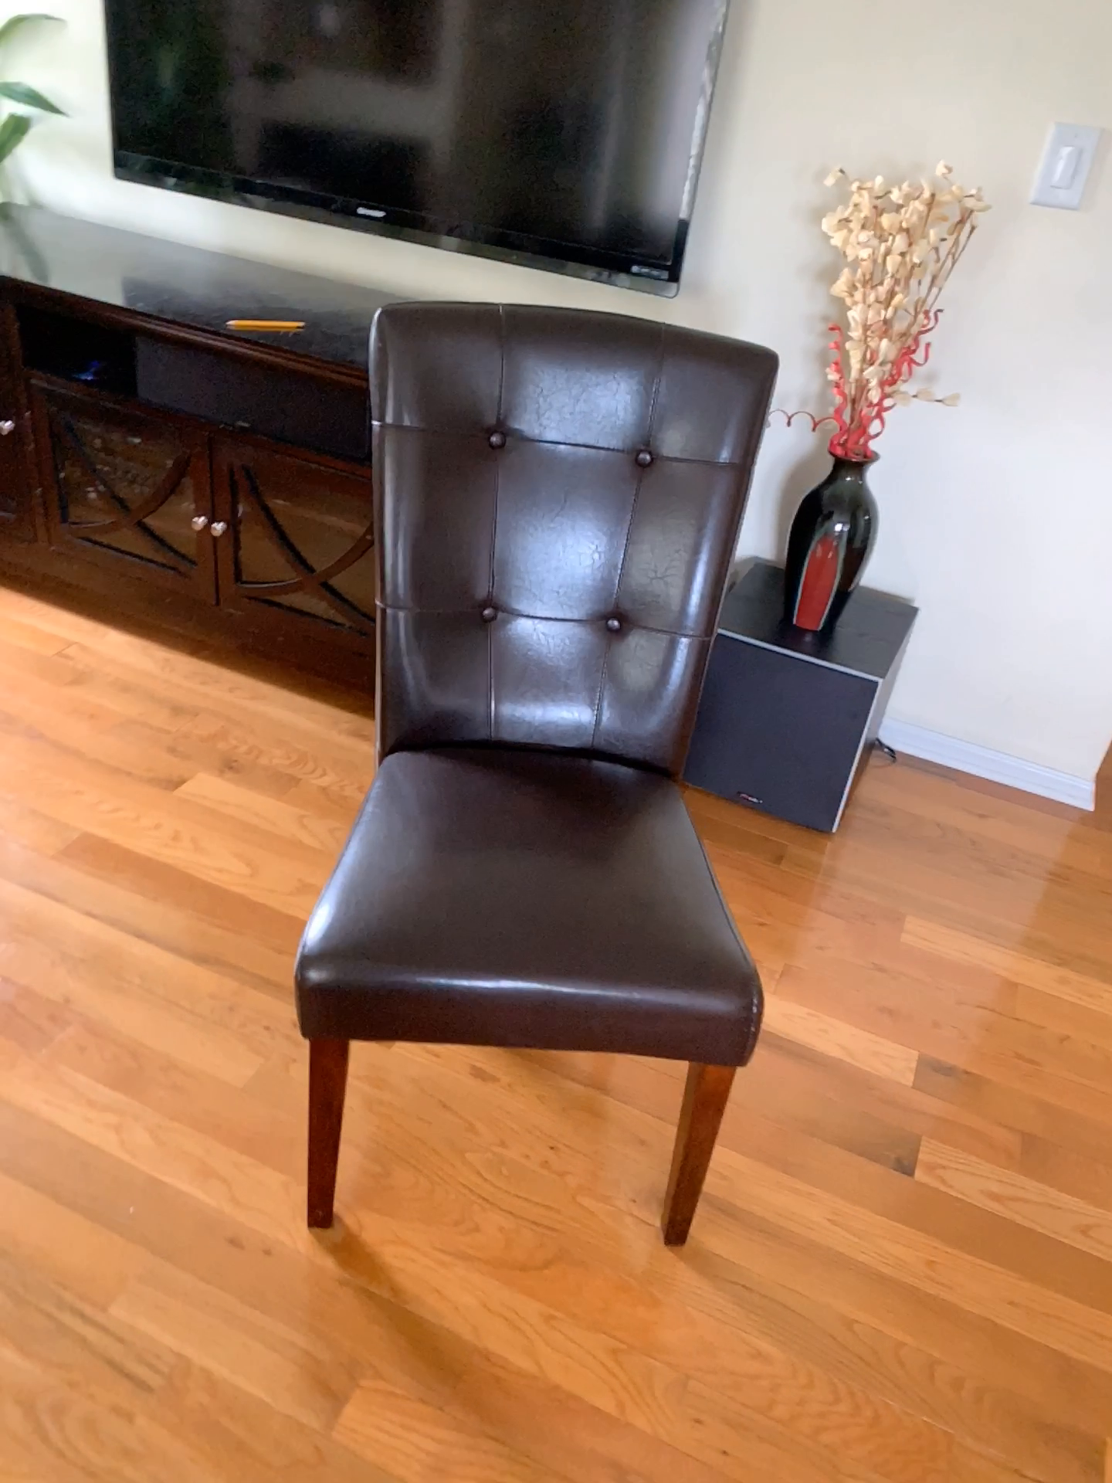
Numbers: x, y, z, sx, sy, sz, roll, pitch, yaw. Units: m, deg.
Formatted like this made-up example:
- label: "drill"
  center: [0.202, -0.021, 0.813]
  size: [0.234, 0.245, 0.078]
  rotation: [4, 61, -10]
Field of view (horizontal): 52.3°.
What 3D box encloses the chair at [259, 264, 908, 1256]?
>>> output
- label: "chair"
  center: [-0.037, 0.018, 1.415]
  size: [0.497, 0.968, 0.707]
  rotation: [5, 33, -5]
